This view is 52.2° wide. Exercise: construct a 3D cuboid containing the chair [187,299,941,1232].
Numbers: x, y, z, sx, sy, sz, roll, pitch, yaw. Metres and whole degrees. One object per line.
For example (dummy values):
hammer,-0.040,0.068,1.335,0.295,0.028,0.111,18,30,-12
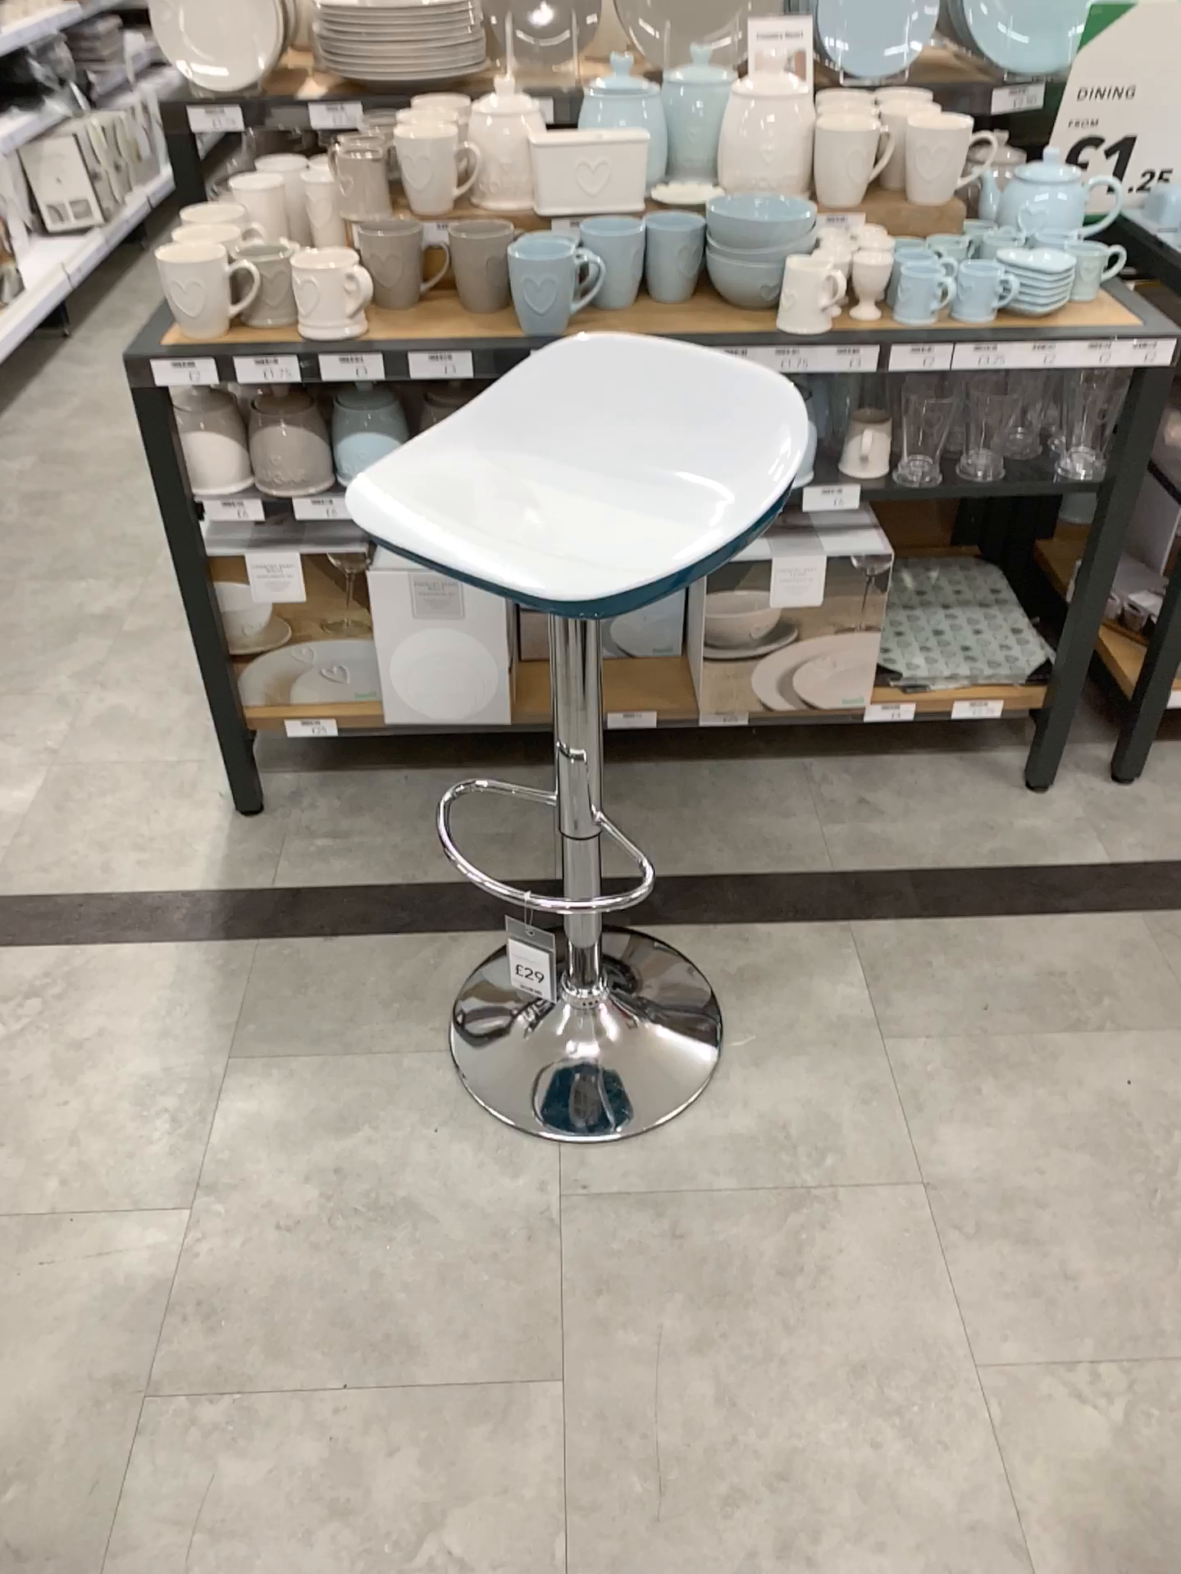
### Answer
chair,-0.009,-0.034,1.330,0.504,0.775,0.472,23,44,27
